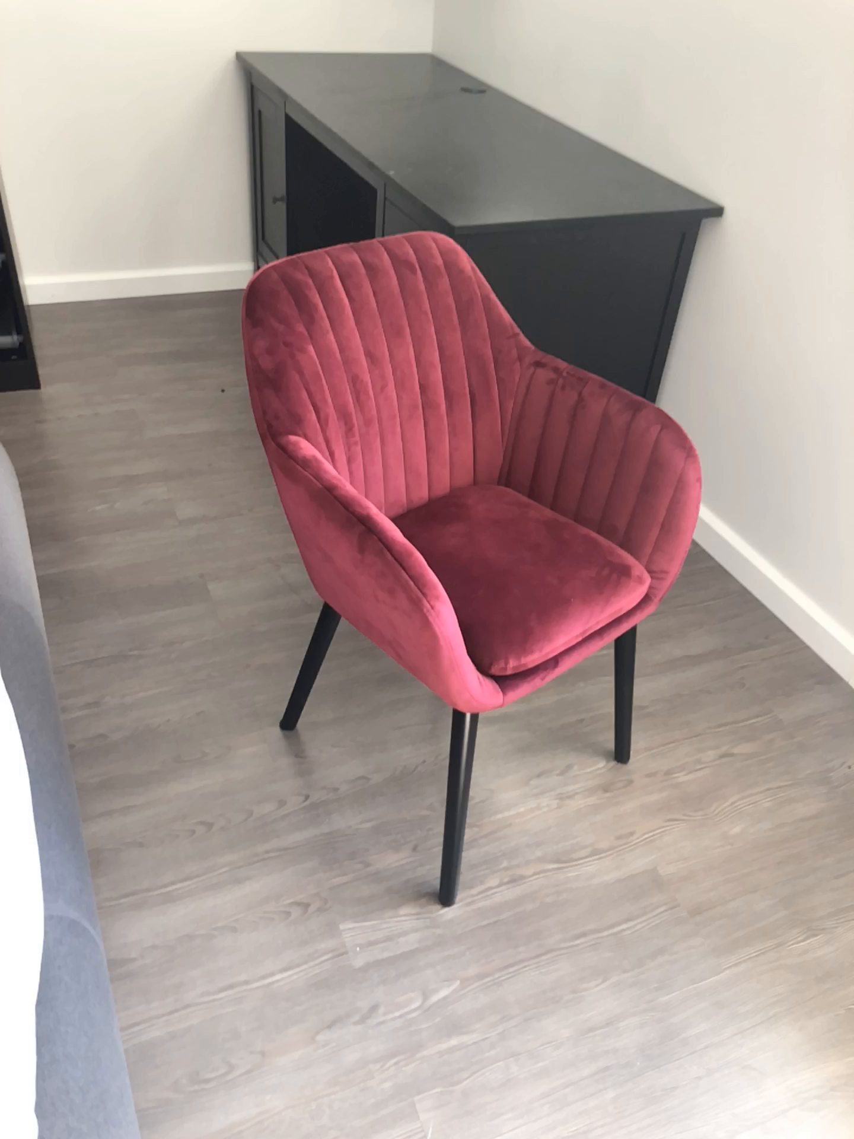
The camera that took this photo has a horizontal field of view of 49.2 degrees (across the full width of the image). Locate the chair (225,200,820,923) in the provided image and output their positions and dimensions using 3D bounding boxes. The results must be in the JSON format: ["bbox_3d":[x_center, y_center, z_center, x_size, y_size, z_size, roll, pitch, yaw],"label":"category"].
[{"bbox_3d":[0.084,-0.034,1.452,0.543,0.834,0.551,-24,46,-33],"label":"chair"}]
